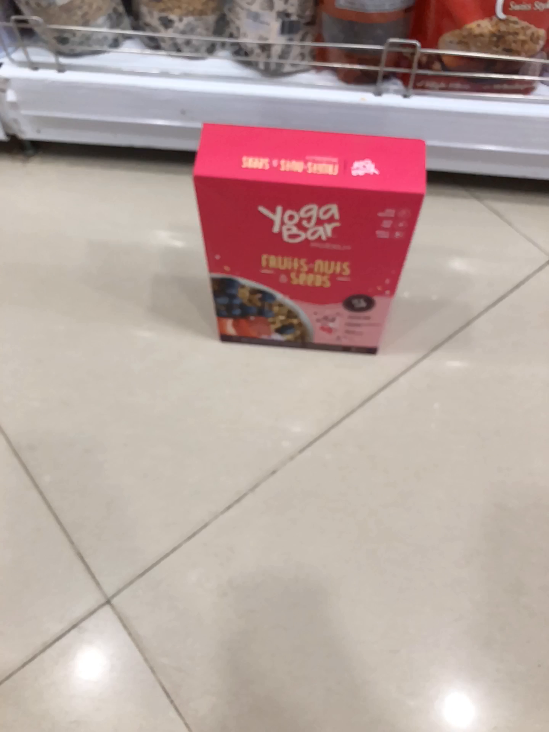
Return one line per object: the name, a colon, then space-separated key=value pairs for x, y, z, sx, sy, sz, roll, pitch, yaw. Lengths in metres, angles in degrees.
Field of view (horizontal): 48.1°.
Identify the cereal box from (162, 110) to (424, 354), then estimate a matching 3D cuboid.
cereal box: x=0.015 y=-0.095 z=0.514 sx=0.170 sy=0.229 sz=0.060 roll=3 pitch=62 yaw=2
